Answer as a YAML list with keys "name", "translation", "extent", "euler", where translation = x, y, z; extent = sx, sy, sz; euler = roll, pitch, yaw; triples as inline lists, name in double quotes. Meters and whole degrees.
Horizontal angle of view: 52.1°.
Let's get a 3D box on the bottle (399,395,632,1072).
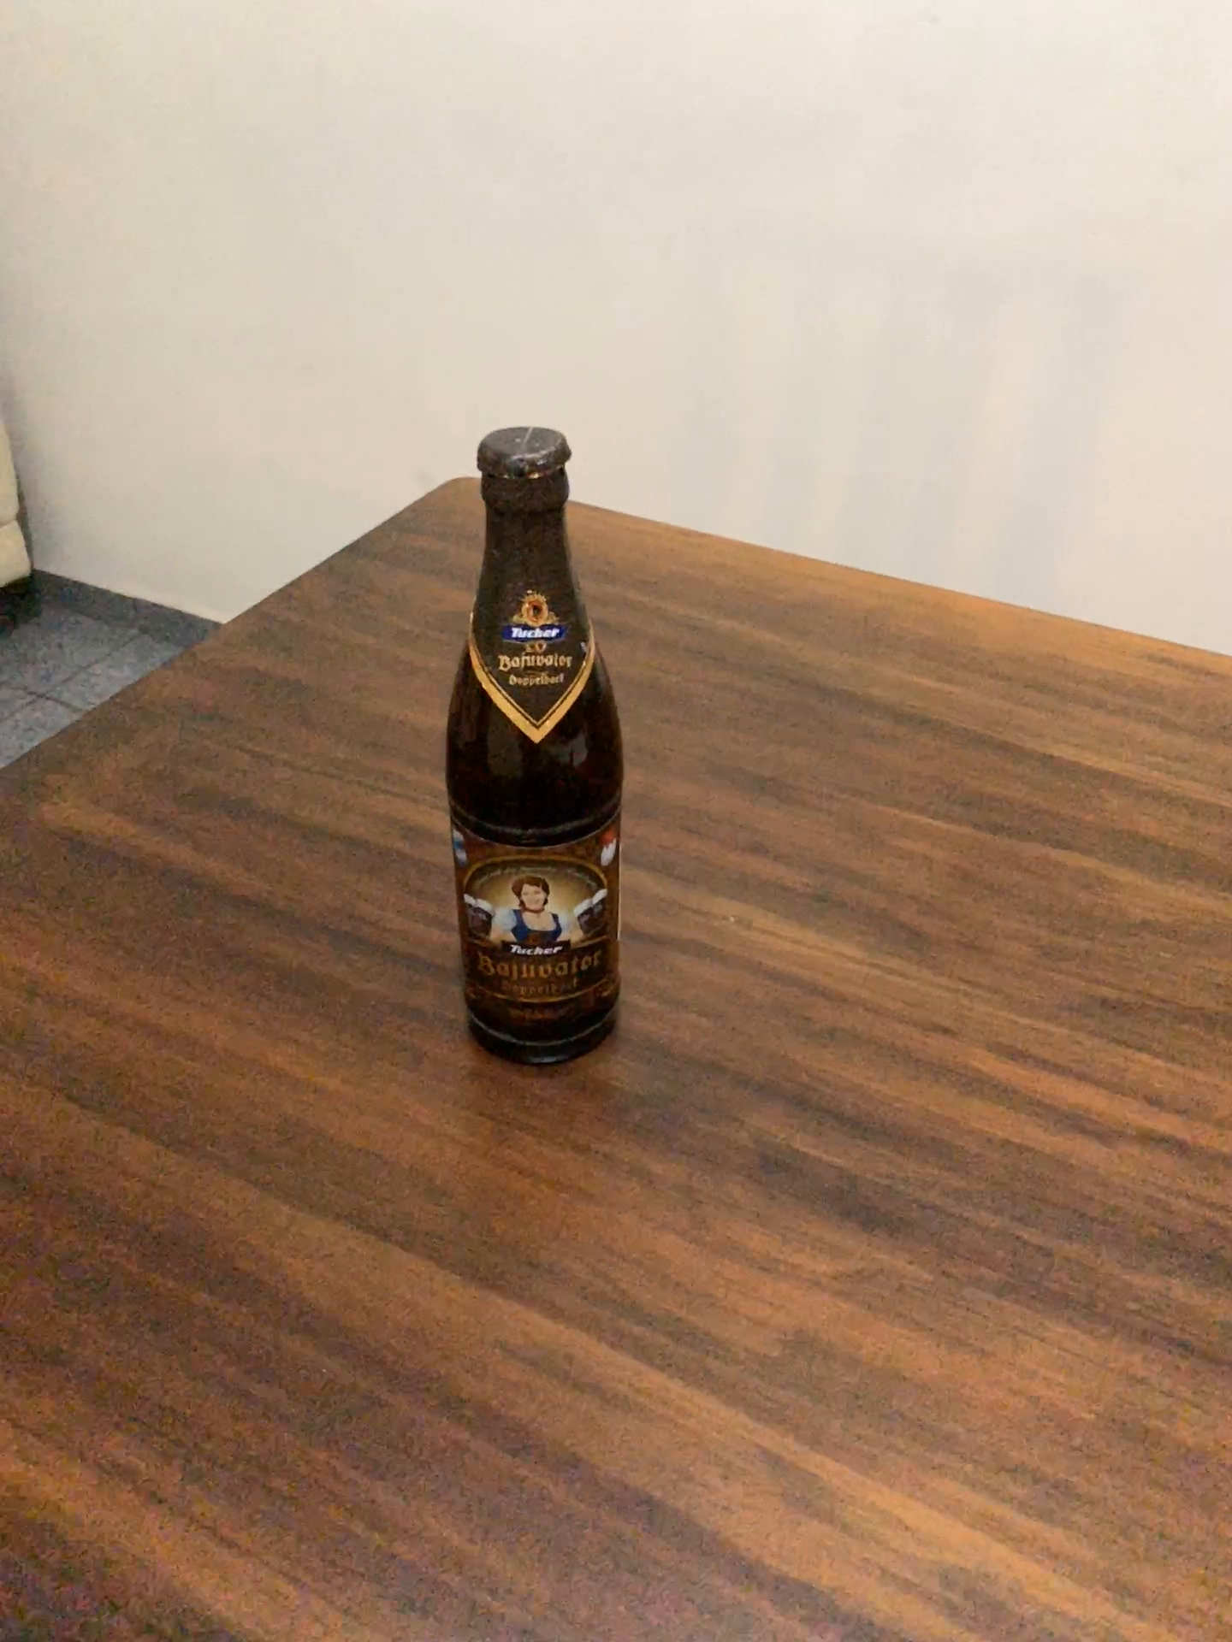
- name: "bottle"
  translation: [-0.034, -0.019, 0.484]
  extent: [0.070, 0.268, 0.060]
  euler: [-2, 37, -4]
